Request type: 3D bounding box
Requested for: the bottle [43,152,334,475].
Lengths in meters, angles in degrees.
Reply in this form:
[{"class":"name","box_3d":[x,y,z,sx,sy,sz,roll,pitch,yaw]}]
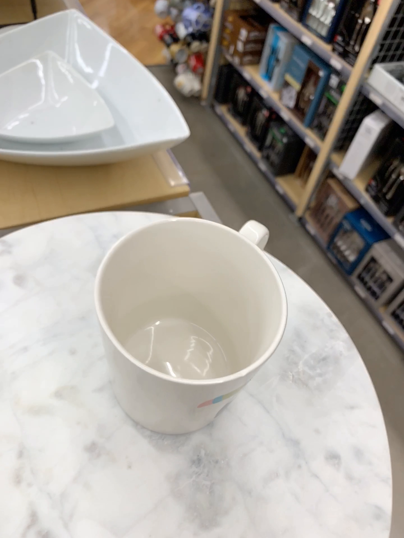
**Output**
[{"class":"bottle","box_3d":[-0.004,0.024,0.271,0.104,0.107,0.143,27,52,11]}]
